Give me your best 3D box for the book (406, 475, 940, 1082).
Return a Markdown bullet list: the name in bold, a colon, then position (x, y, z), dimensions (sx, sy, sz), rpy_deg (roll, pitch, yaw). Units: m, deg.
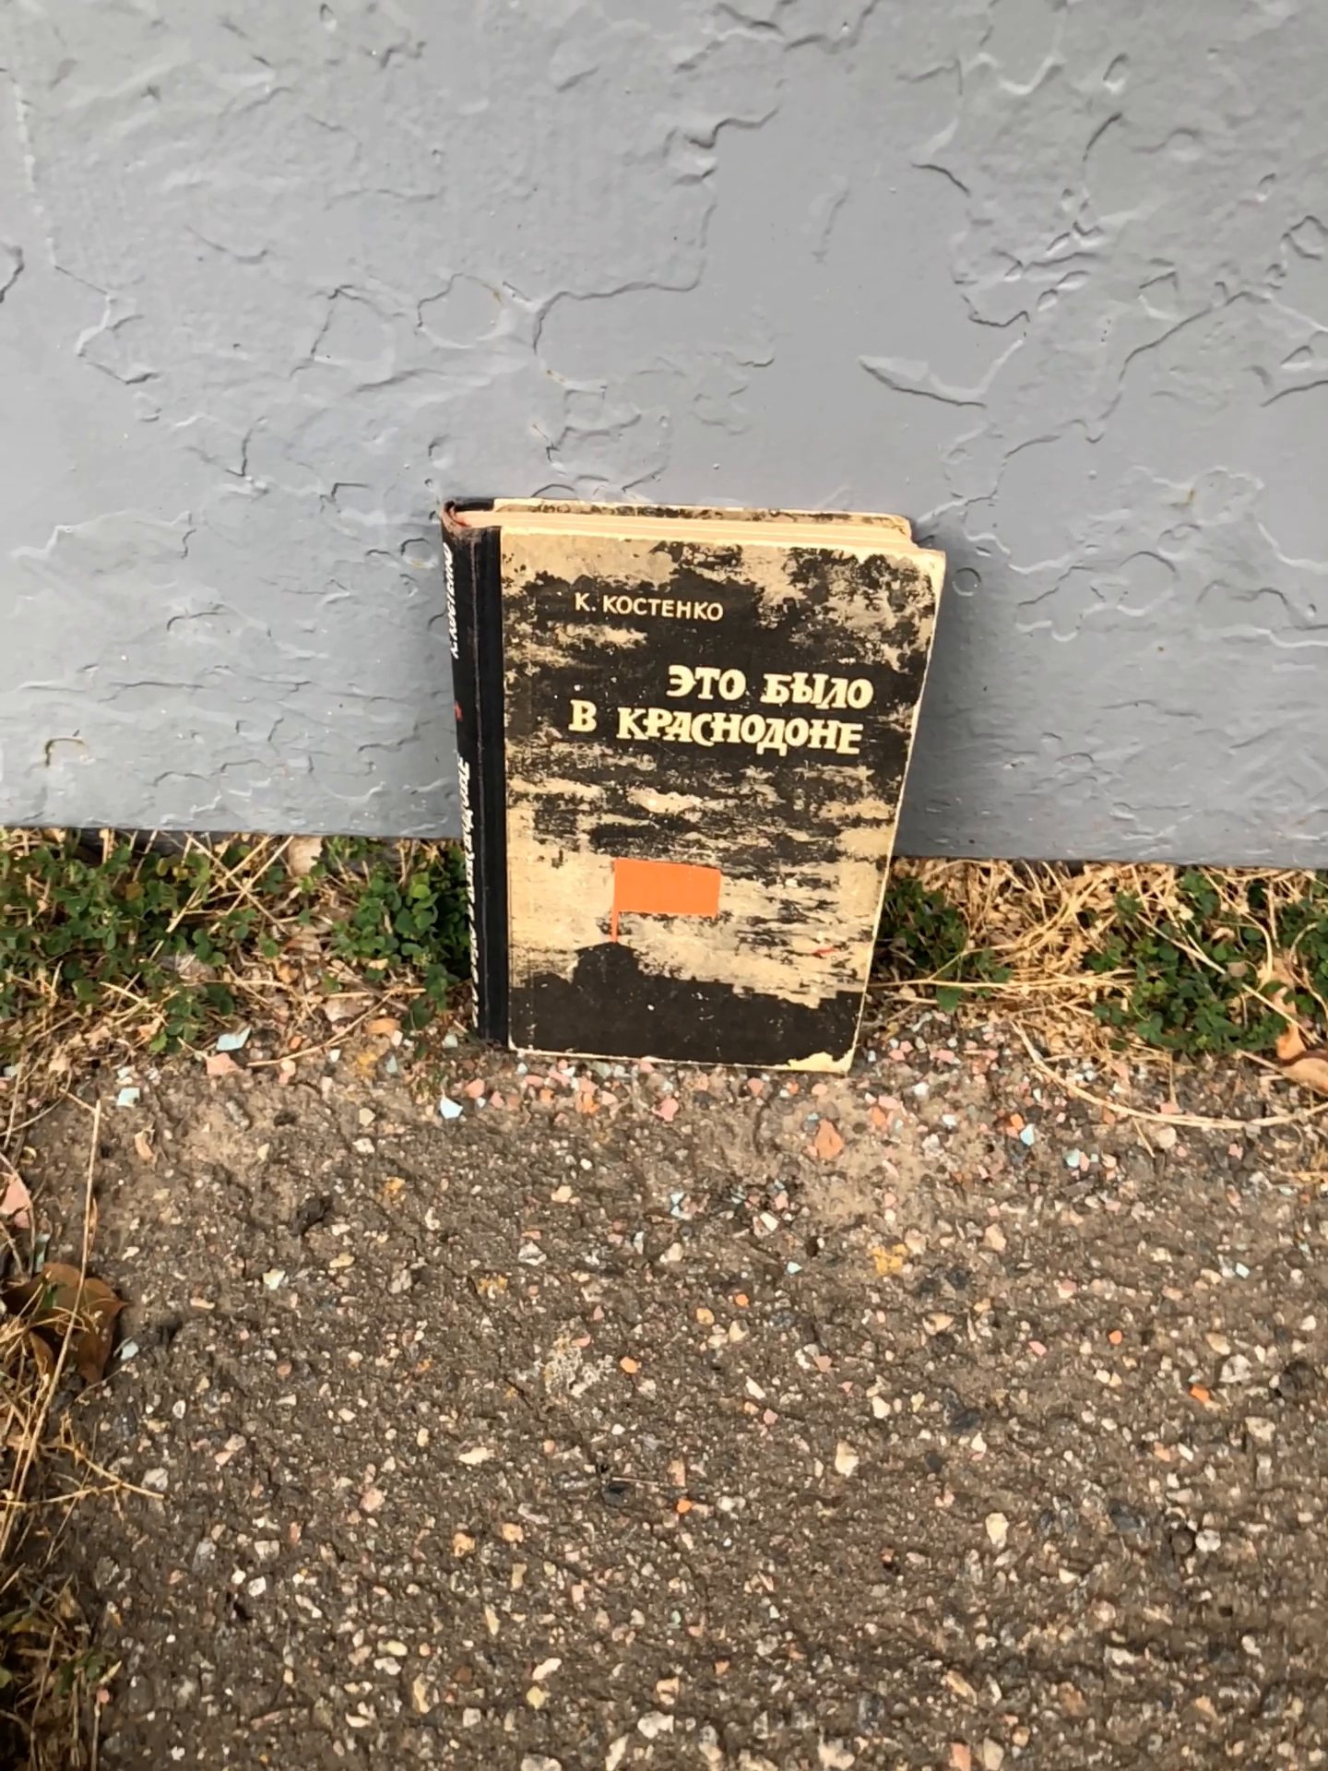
- **book**: position (0.000, -0.023, 0.458), dimensions (0.140, 0.199, 0.030), rpy_deg (3, 39, 2)
